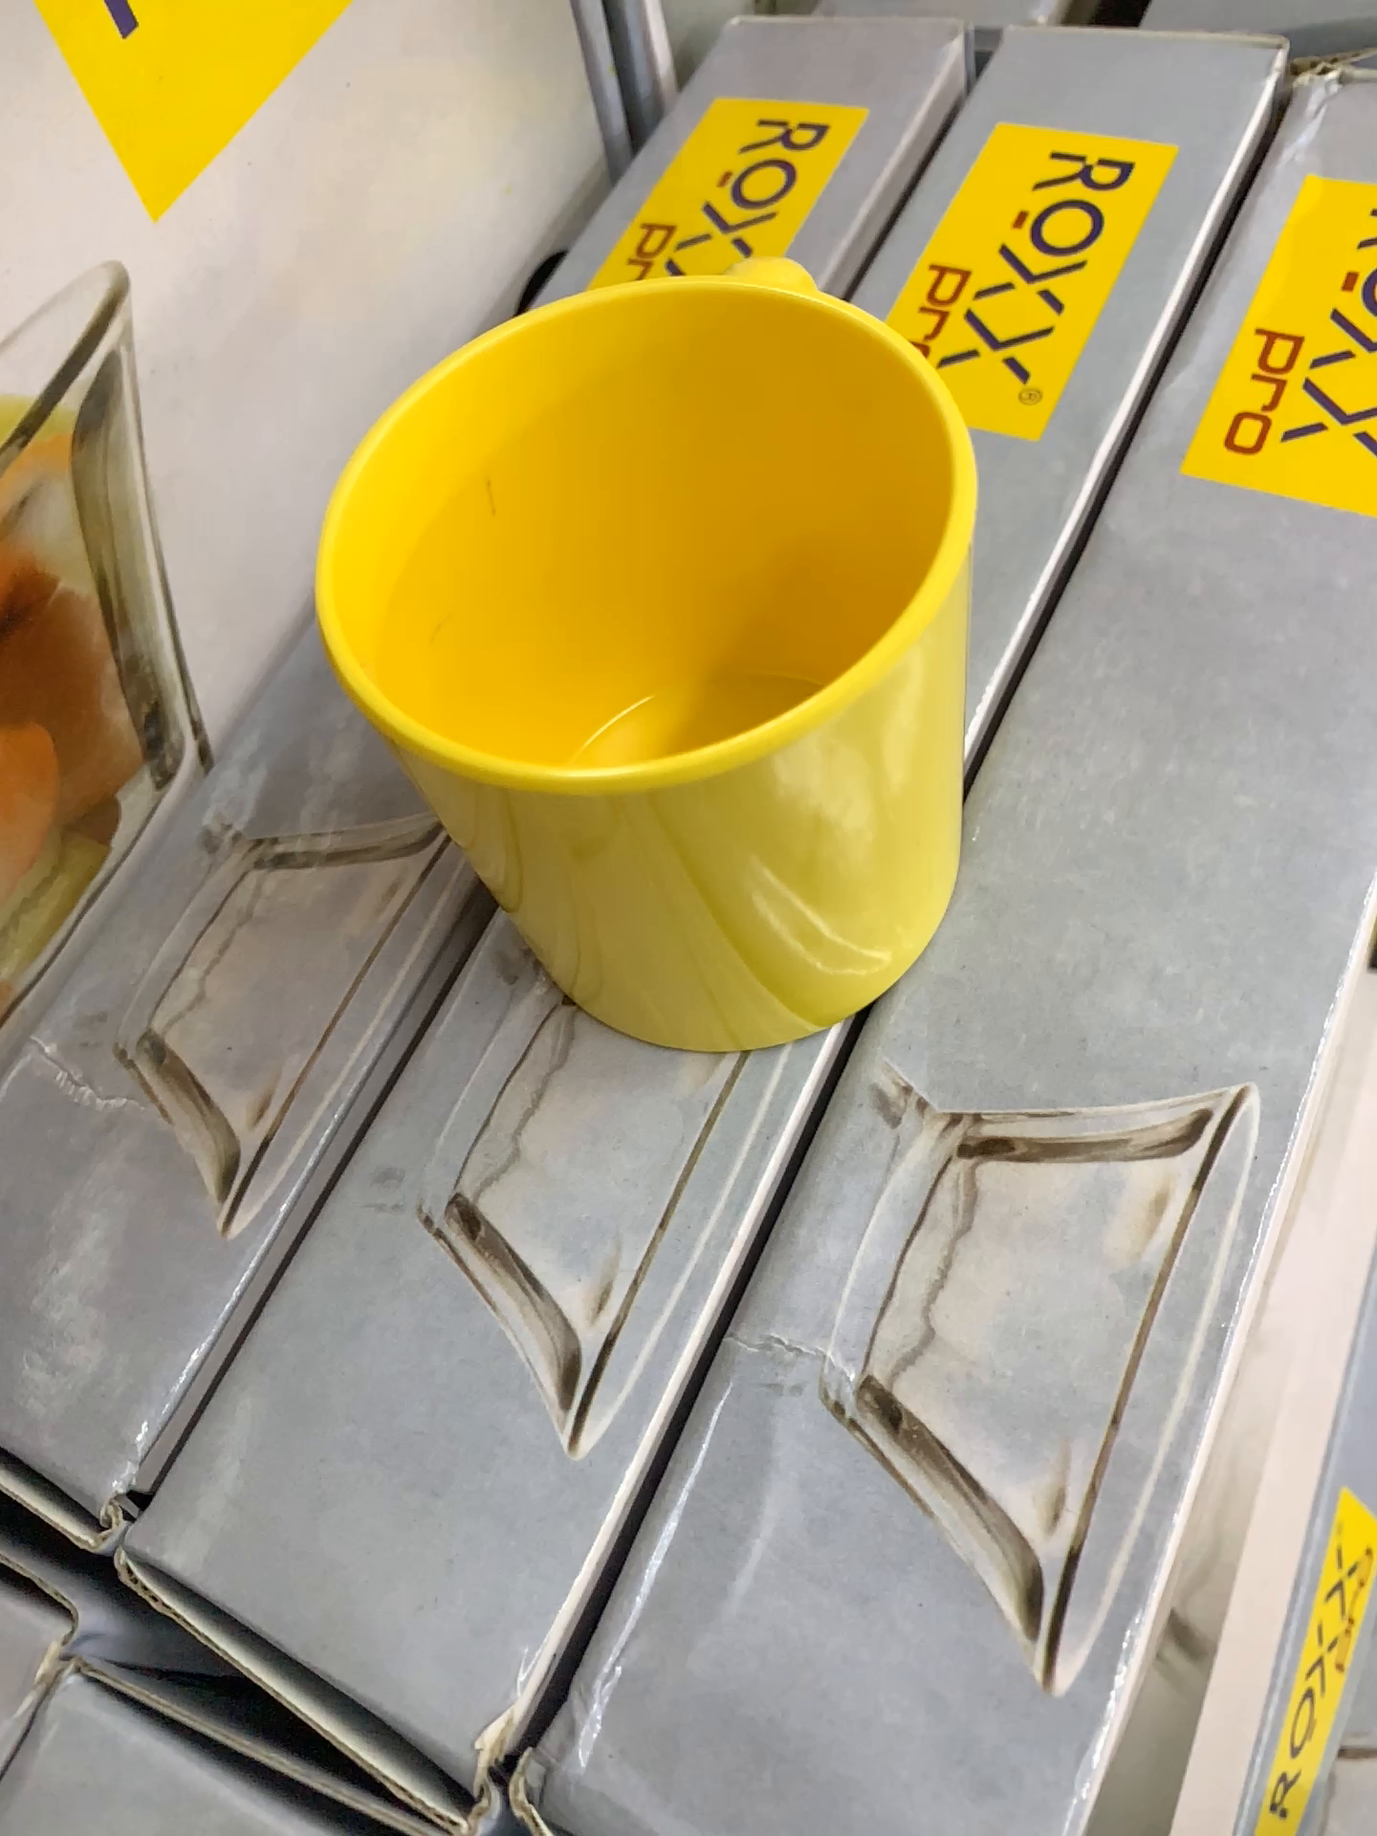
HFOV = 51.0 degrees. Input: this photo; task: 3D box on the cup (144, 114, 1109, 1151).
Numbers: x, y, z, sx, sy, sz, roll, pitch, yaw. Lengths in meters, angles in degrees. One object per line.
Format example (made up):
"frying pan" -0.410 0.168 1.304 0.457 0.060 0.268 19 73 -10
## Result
"cup" 0.003 -0.037 0.180 0.072 0.069 0.096 14 61 19
